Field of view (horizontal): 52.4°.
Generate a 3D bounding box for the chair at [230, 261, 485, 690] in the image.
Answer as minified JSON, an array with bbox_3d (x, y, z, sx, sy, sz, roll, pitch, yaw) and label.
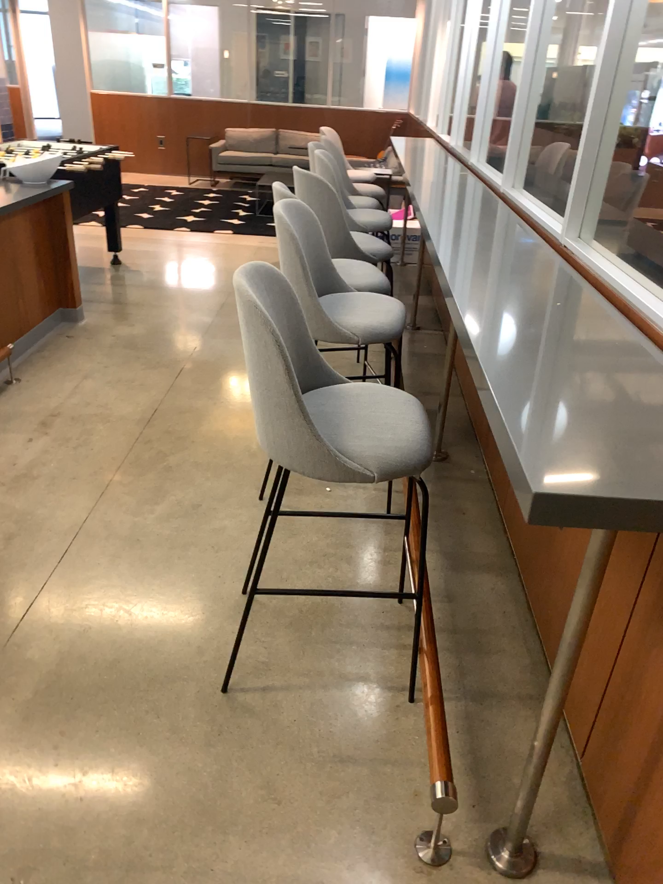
[{"bbox_3d":[0.010,0.108,1.758,0.510,1.034,0.412,1,28,-5],"label":"chair"}]
